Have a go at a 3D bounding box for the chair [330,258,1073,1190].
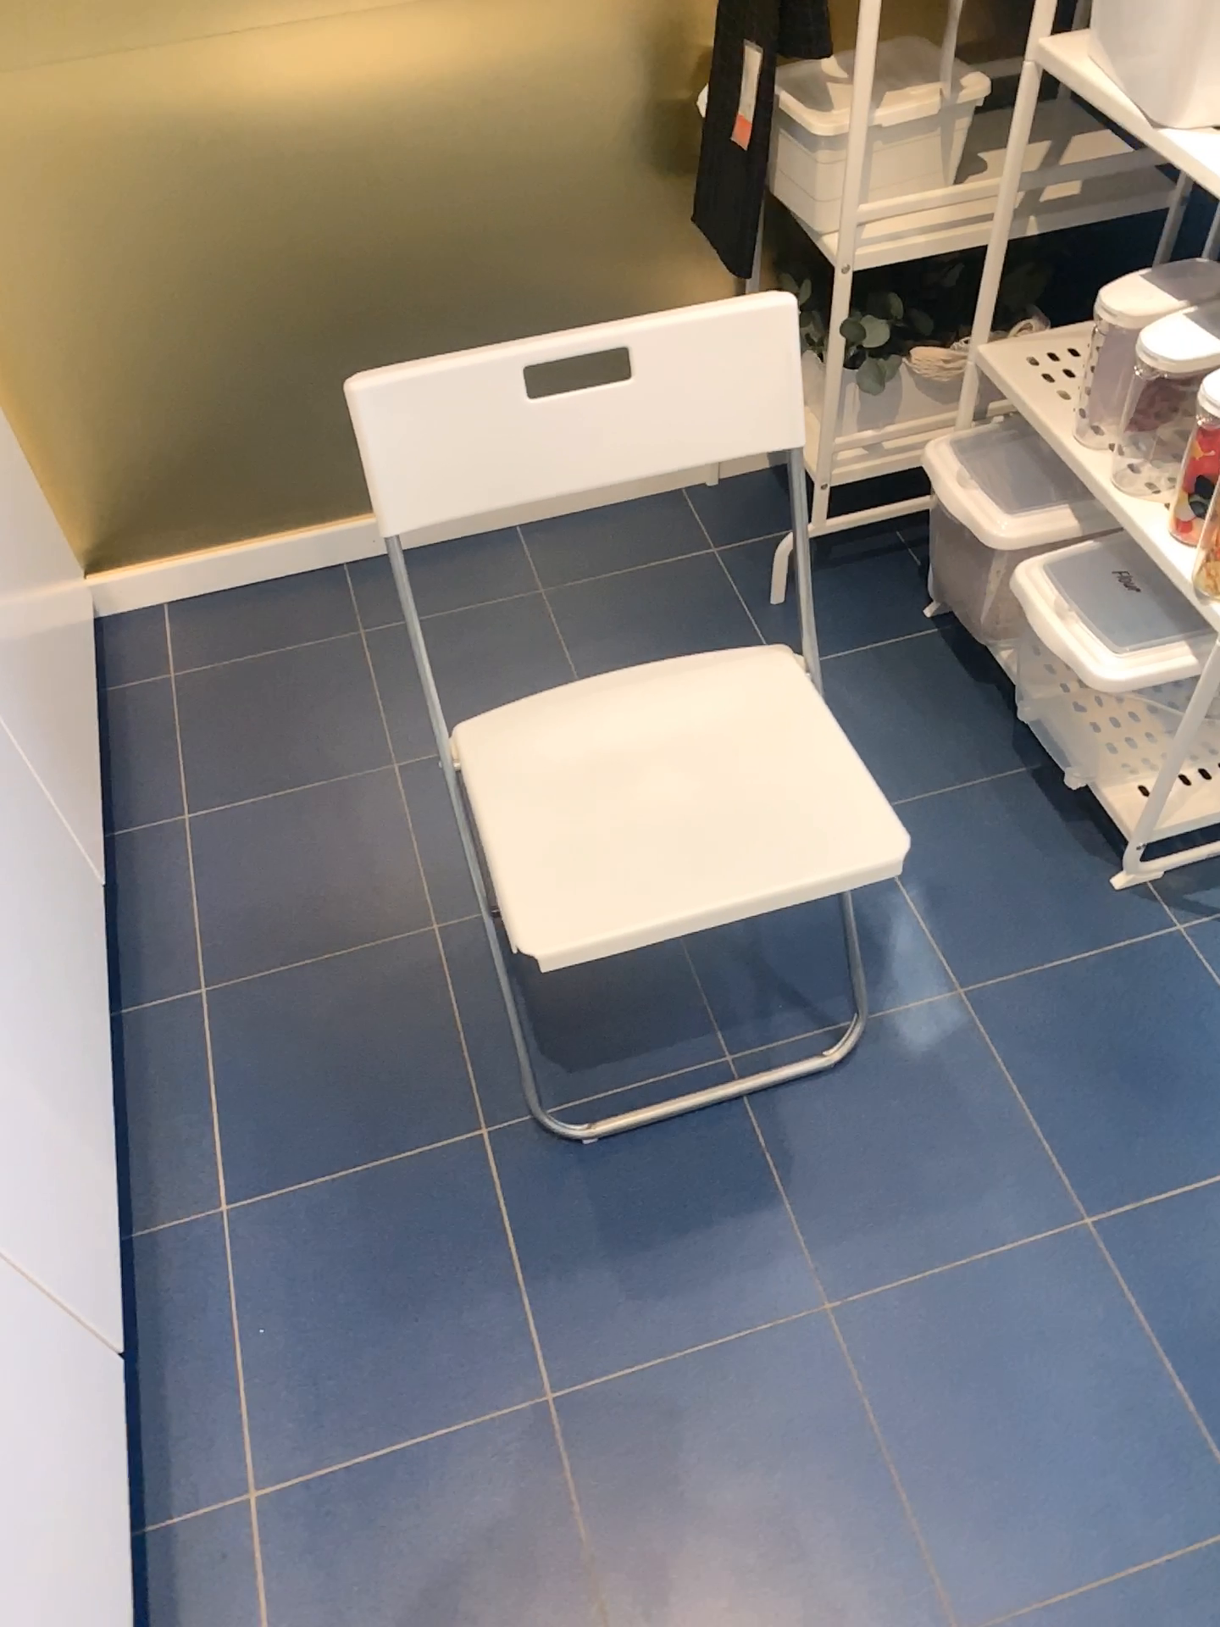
[{"bbox_3d":[0.058,-0.041,1.213,0.440,0.748,0.421,-14,51,-8],"label":"chair"}]
